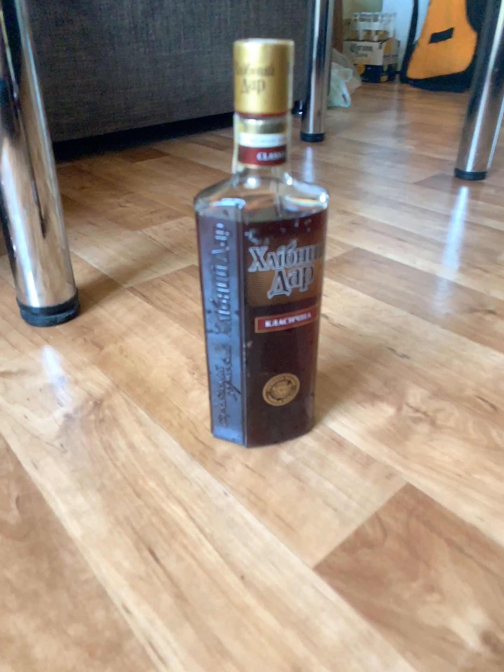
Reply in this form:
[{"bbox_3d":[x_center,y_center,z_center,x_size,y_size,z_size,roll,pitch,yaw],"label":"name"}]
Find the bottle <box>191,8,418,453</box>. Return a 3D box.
[{"bbox_3d":[0.021,-0.042,0.287,0.090,0.239,0.050,-3,33,-3],"label":"bottle"}]
